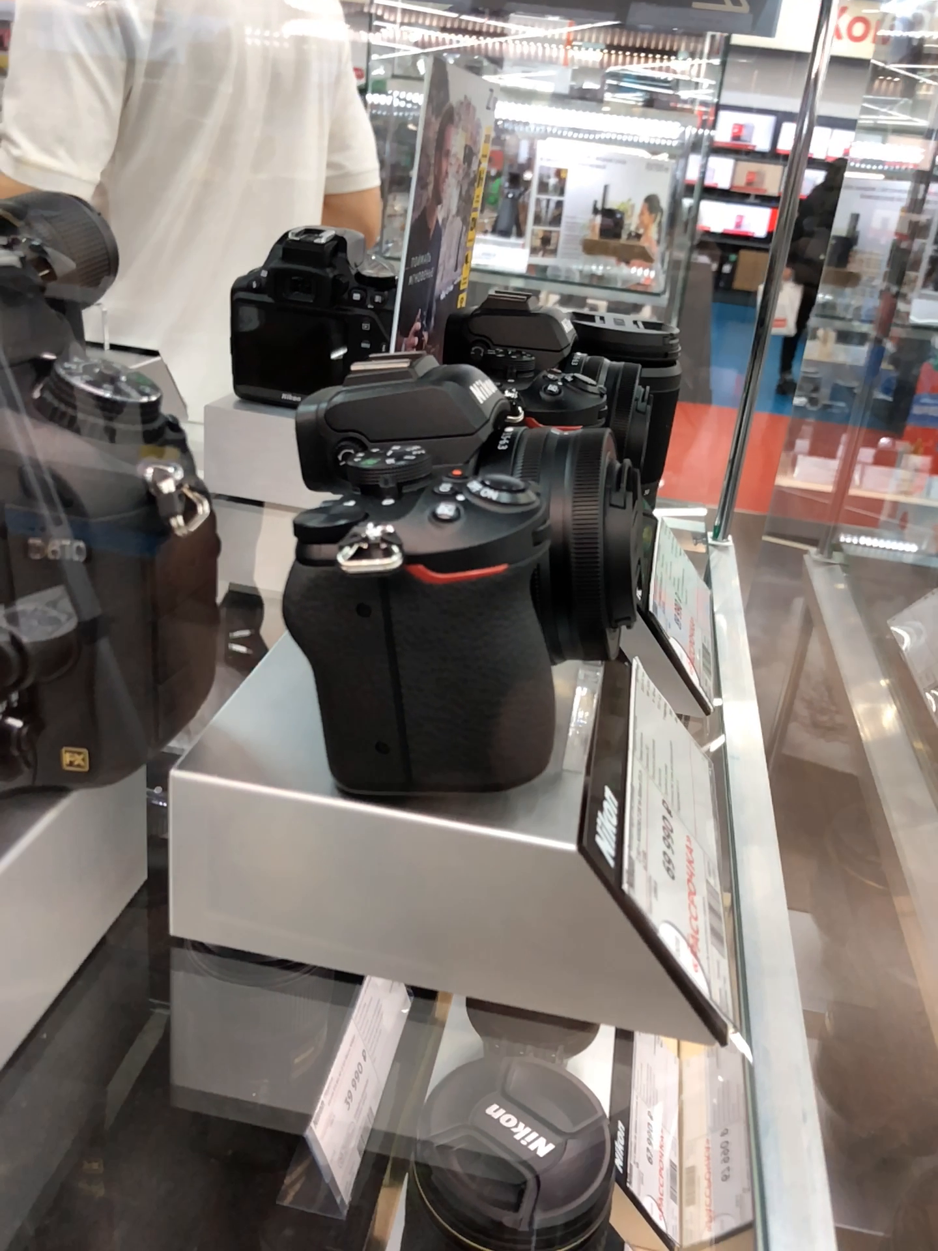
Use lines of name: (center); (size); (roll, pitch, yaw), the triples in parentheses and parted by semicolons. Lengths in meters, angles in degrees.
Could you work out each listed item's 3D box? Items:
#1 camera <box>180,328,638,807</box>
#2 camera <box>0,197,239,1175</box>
camera: (-0.002, -0.024, 0.287); (0.090, 0.092, 0.127); (-1, 22, 12)
camera: (-0.140, -0.012, 0.204); (0.129, 0.112, 0.150); (11, 21, 9)
